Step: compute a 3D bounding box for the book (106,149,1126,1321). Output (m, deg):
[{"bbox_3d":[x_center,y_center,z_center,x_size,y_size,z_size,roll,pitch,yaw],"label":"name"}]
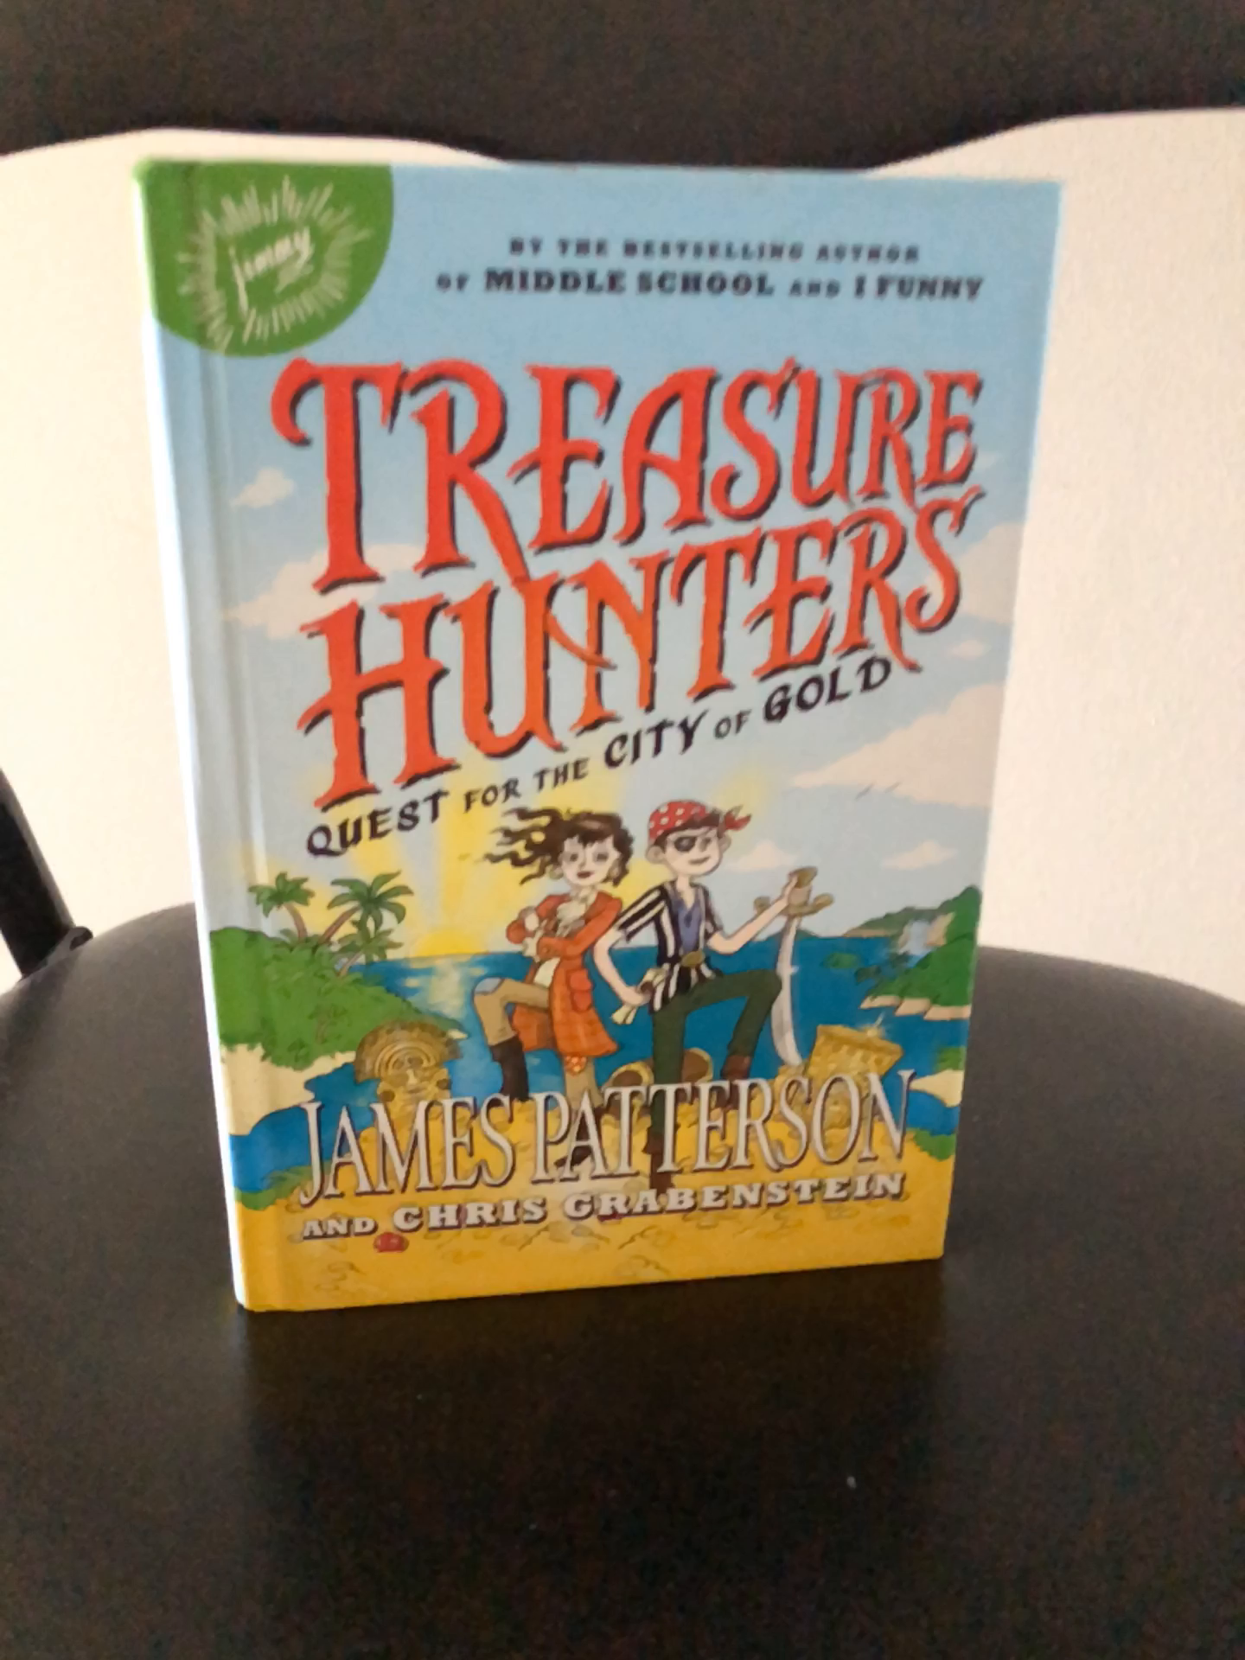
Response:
[{"bbox_3d":[-0.001,-0.010,0.267,0.154,0.215,0.040,-3,23,-7],"label":"book"}]
